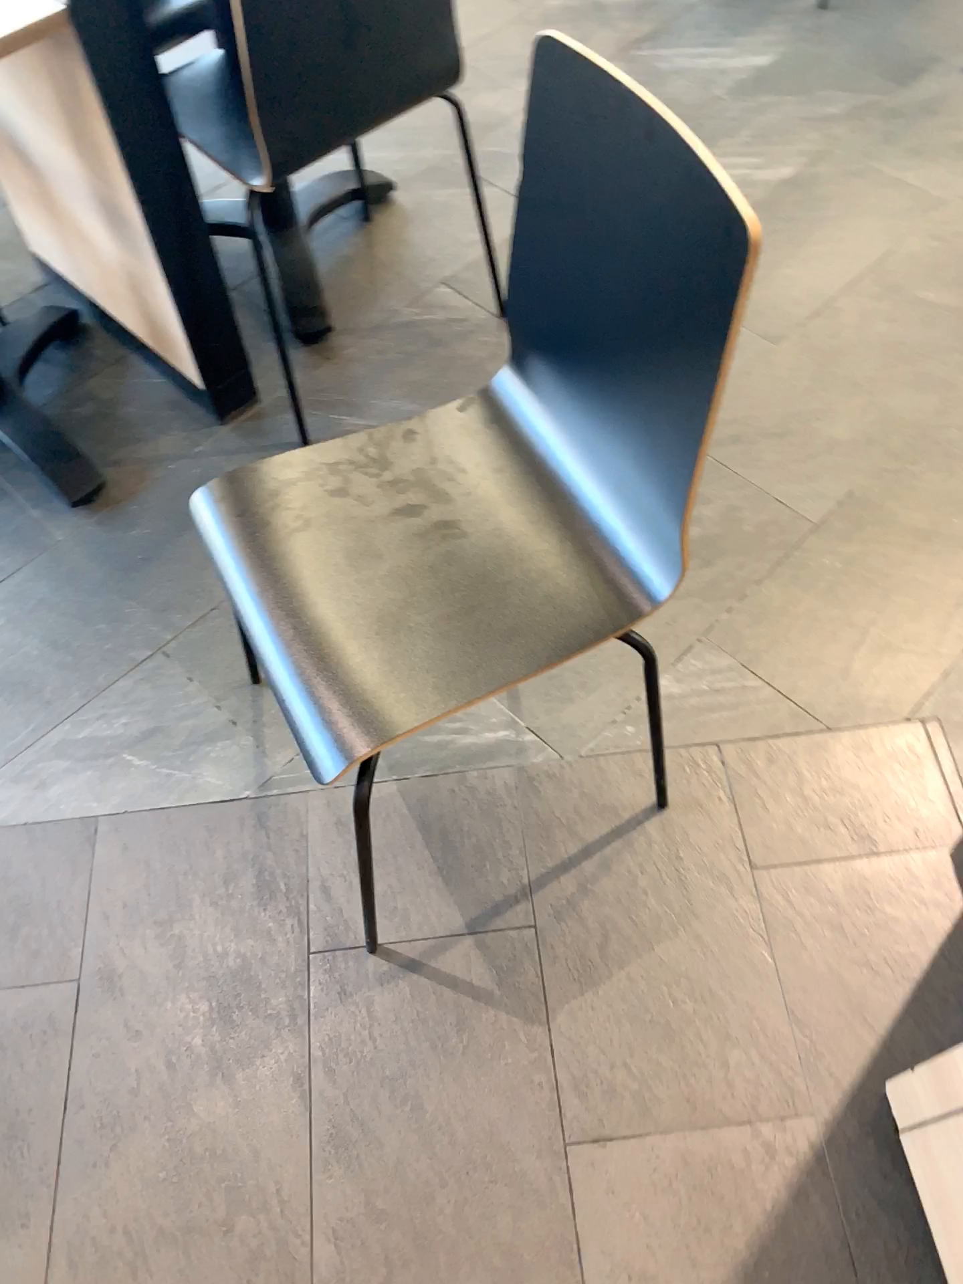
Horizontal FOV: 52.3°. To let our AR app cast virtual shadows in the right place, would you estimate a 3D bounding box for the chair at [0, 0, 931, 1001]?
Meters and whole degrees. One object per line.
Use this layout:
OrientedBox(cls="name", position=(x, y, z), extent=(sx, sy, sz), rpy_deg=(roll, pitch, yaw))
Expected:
OrientedBox(cls="chair", position=(-0.053, -0.073, 1.042), extent=(0.520, 0.838, 0.521), rpy_deg=(-23, 60, -12))
